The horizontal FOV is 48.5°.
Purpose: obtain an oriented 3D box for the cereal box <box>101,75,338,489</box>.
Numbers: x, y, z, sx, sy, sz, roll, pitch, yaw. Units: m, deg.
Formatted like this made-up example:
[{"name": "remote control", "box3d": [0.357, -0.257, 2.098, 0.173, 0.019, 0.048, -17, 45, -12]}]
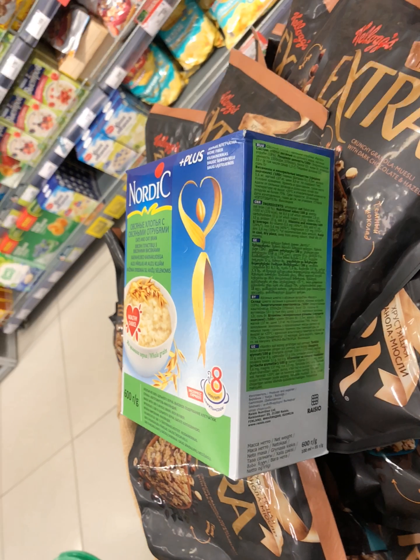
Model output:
[{"name": "cereal box", "box3d": [-0.004, 0.000, 0.325, 0.161, 0.080, 0.210, 2, 91, 55]}]
